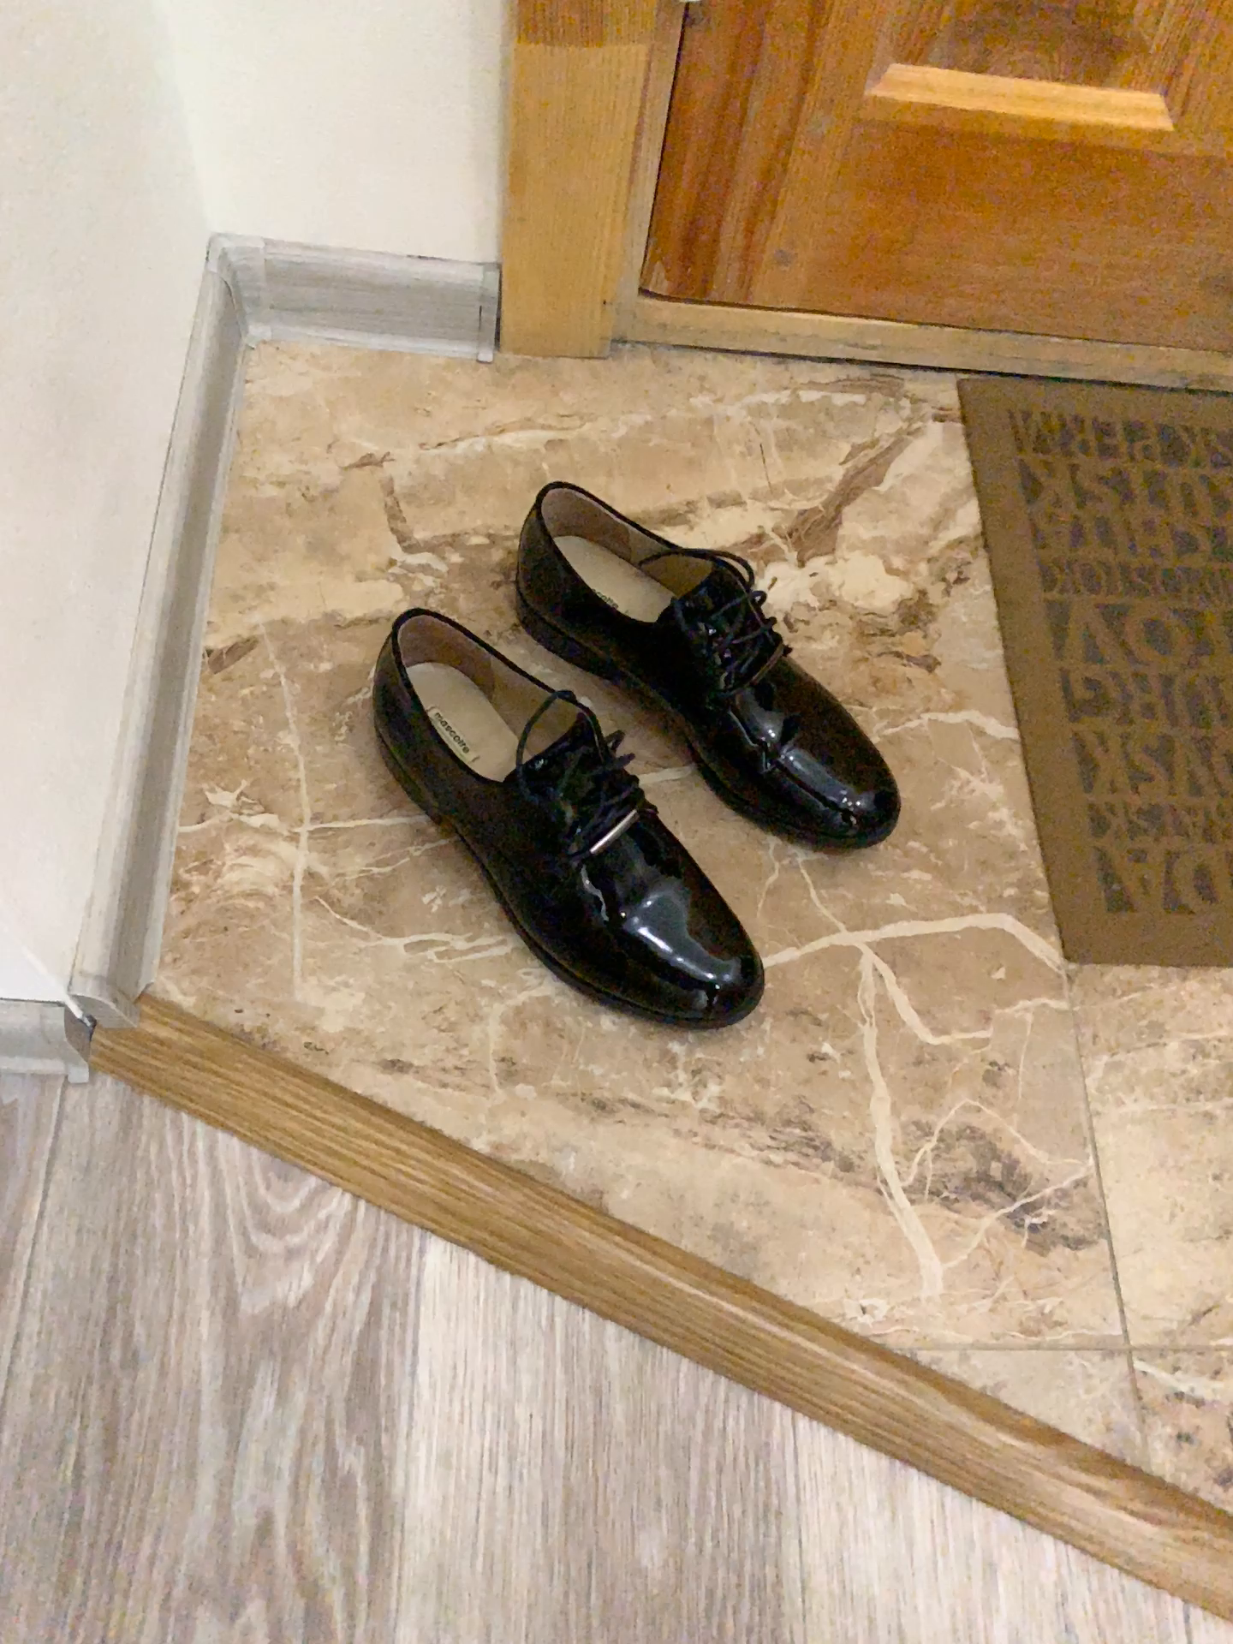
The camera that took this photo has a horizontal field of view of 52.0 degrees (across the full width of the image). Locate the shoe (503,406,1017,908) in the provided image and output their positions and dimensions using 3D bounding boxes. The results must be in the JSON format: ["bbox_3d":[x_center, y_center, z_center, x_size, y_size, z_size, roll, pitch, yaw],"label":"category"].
[{"bbox_3d":[0.061,-0.081,0.633,0.230,0.110,0.090,40,65,12],"label":"shoe"}]

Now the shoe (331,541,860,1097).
[{"bbox_3d":[-0.017,0.000,0.578,0.086,0.110,0.230,-40,75,-23],"label":"shoe"}]
